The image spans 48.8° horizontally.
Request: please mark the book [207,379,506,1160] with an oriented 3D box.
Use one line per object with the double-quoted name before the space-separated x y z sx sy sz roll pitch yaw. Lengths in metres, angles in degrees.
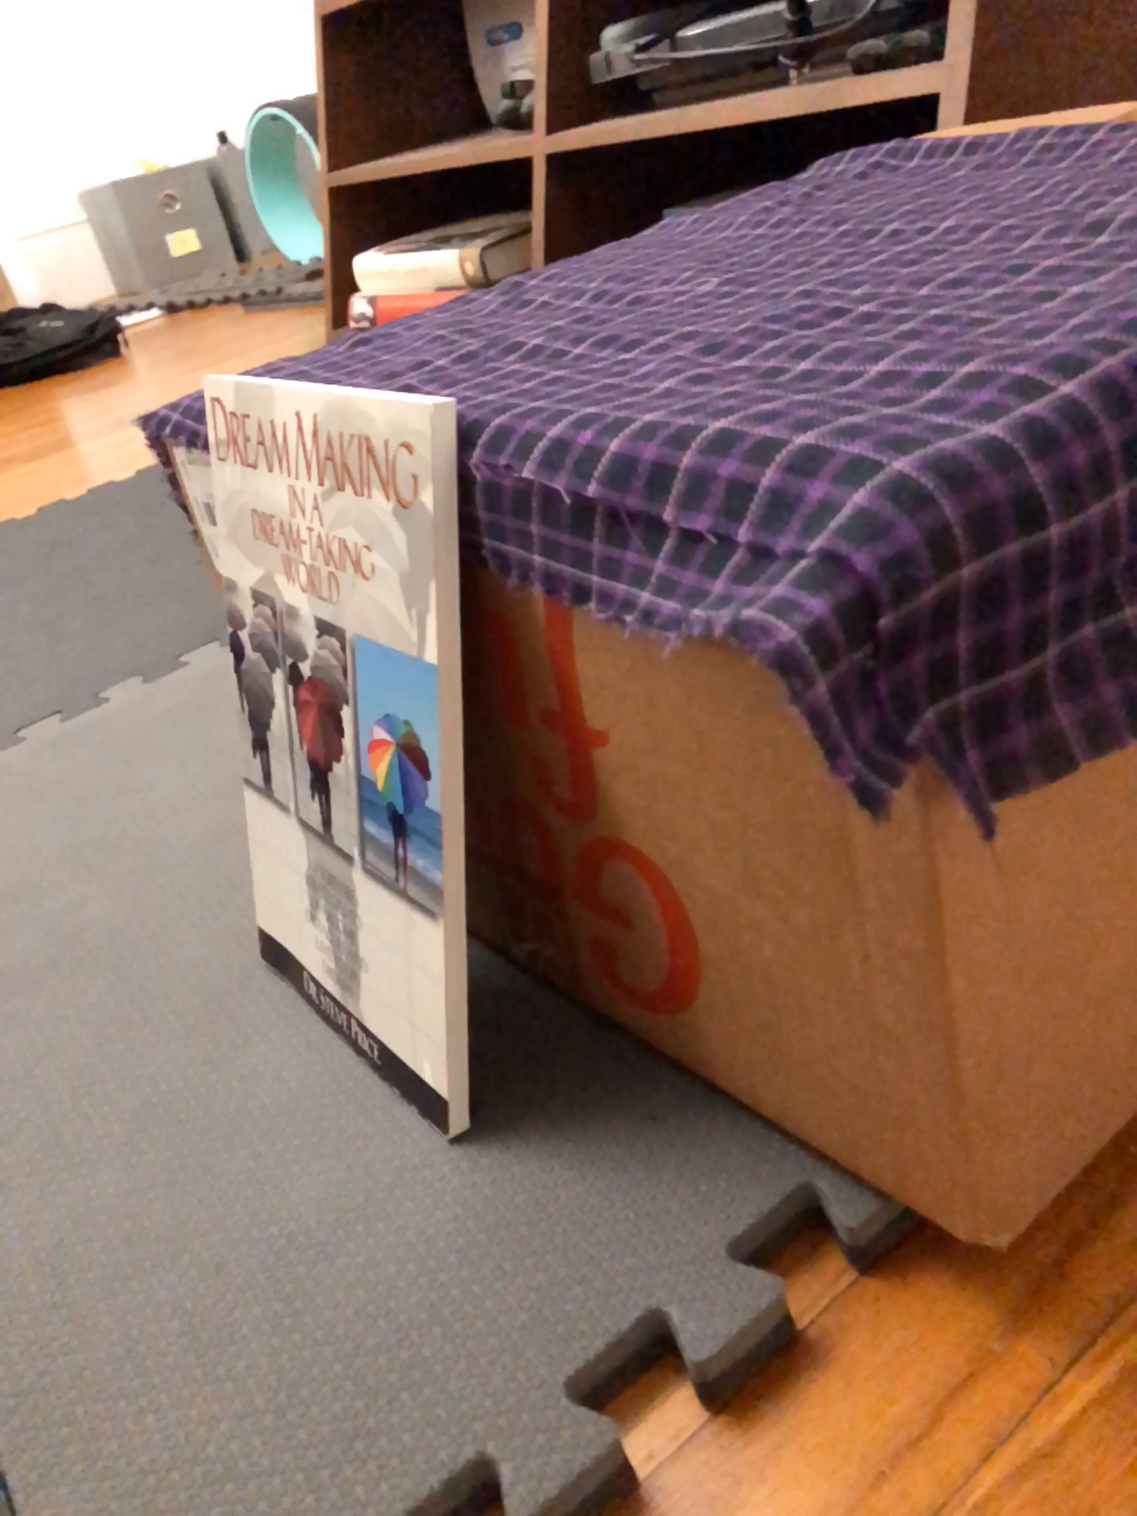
"book" -0.071 -0.005 0.405 0.020 0.219 0.151 -13 22 -31
